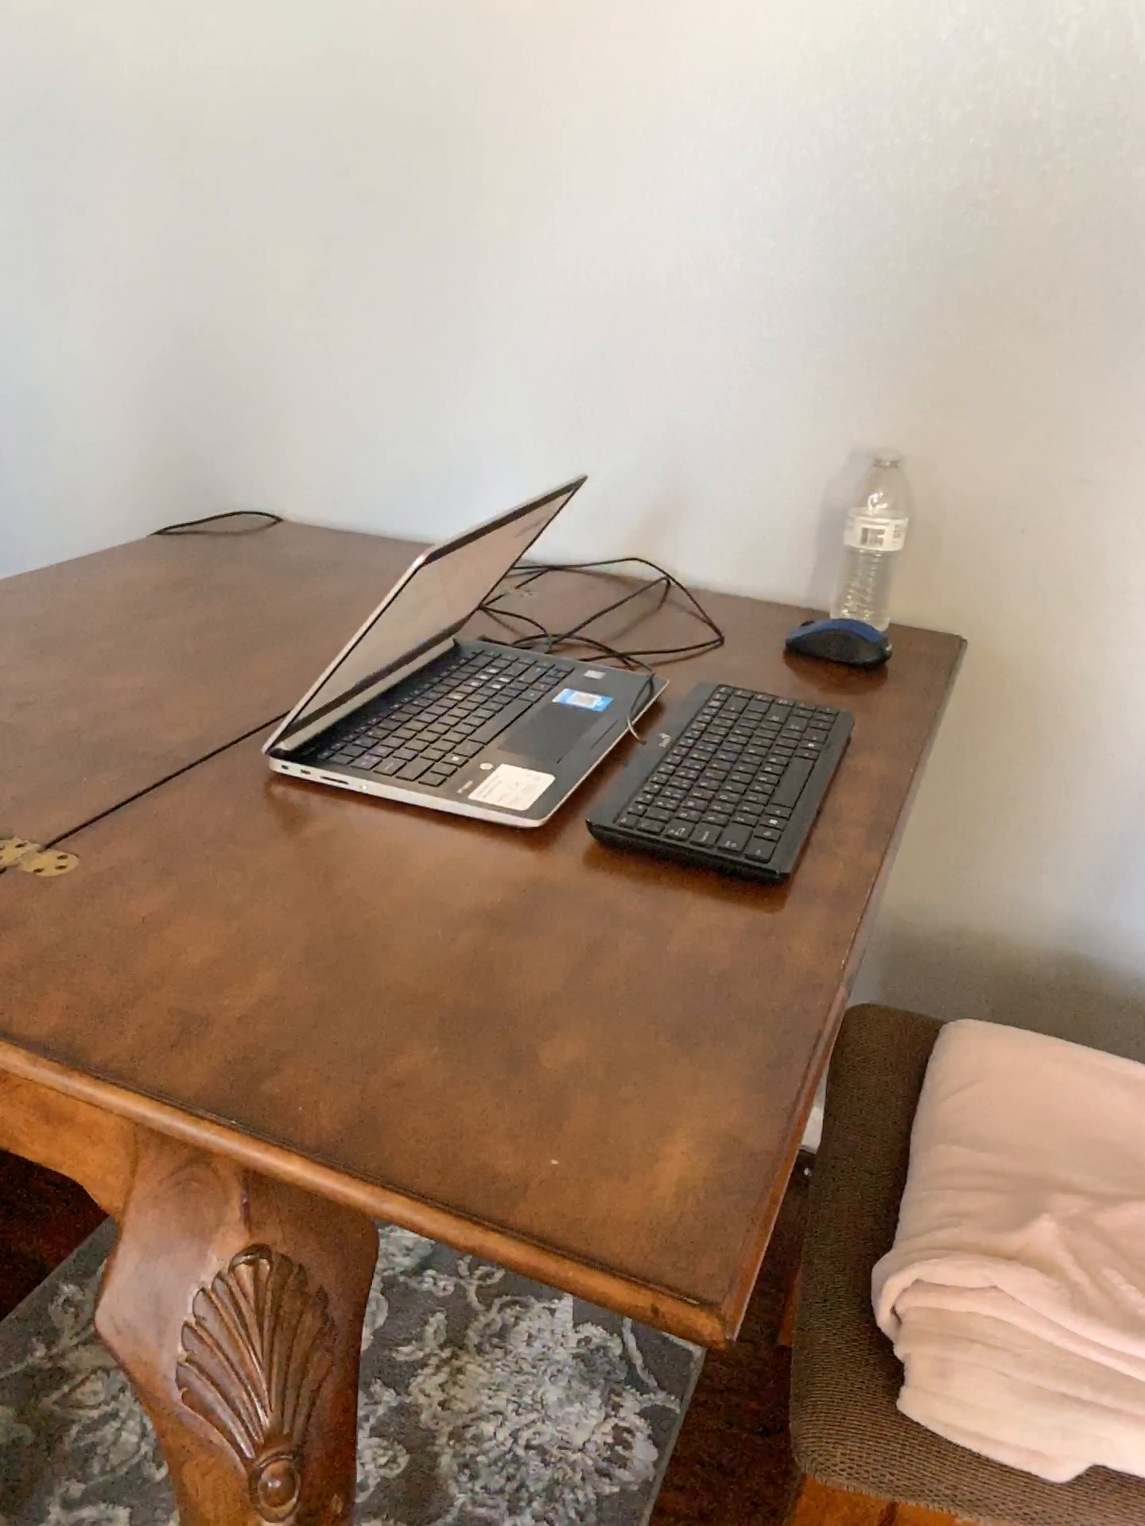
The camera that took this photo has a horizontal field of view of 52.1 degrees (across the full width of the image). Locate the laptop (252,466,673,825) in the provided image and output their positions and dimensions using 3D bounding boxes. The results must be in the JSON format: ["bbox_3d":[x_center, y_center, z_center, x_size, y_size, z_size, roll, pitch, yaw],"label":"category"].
[{"bbox_3d":[-0.067,-0.110,0.897,0.198,0.157,0.304,13,25,17],"label":"laptop"}]
